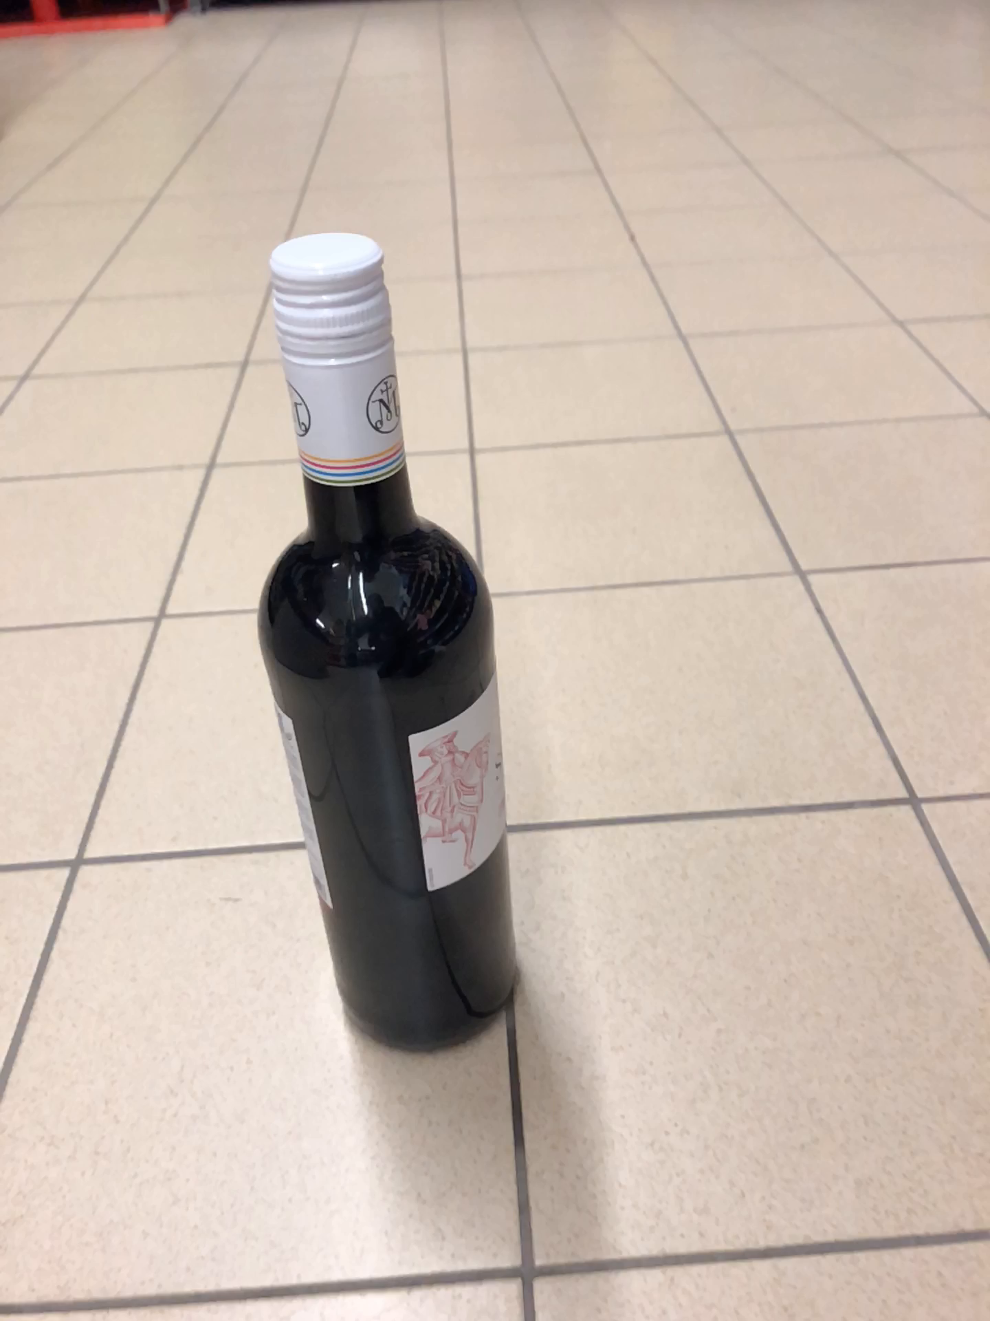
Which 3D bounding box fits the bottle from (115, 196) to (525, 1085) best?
[{"bbox_3d":[-0.040,0.013,0.362,0.080,0.288,0.091,-6,37,-3],"label":"bottle"}]
